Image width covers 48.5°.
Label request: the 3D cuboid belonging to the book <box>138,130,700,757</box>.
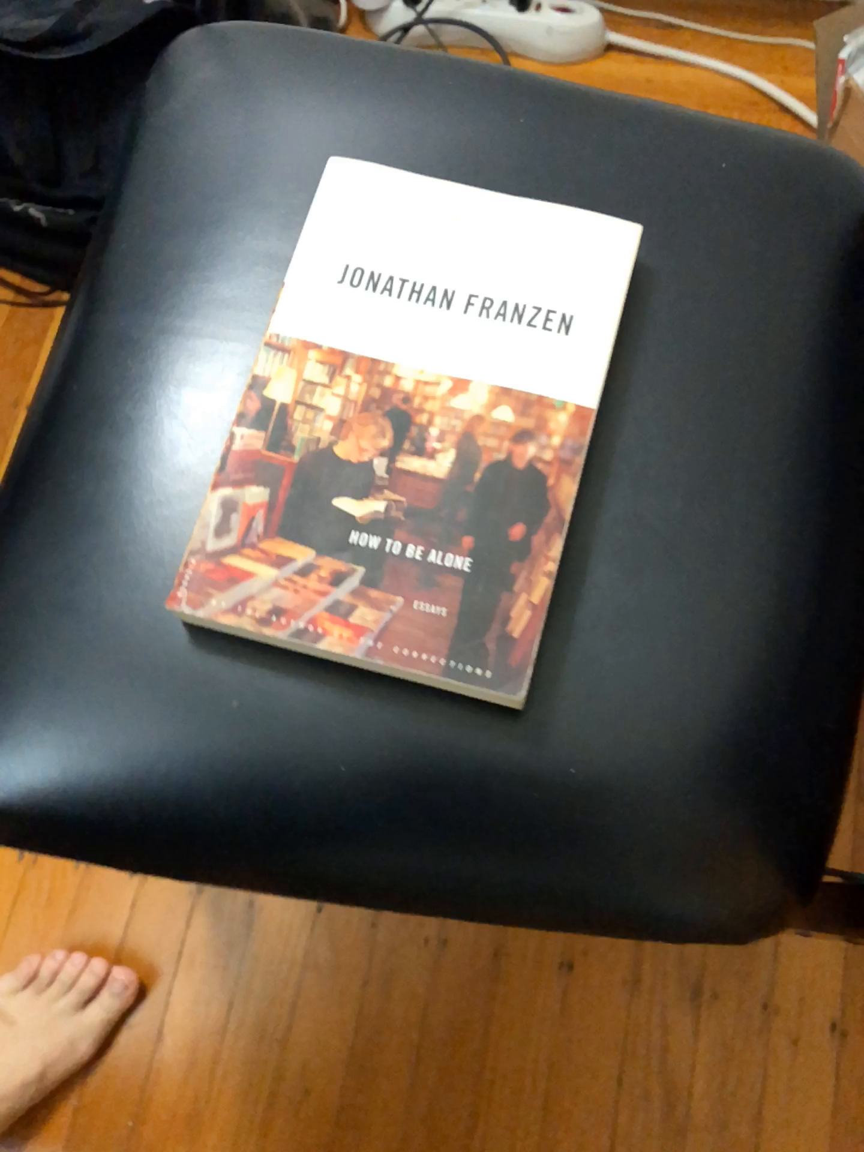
[{"bbox_3d":[0.002,-0.063,0.390,0.160,0.040,0.230,14,74,10],"label":"book"}]
